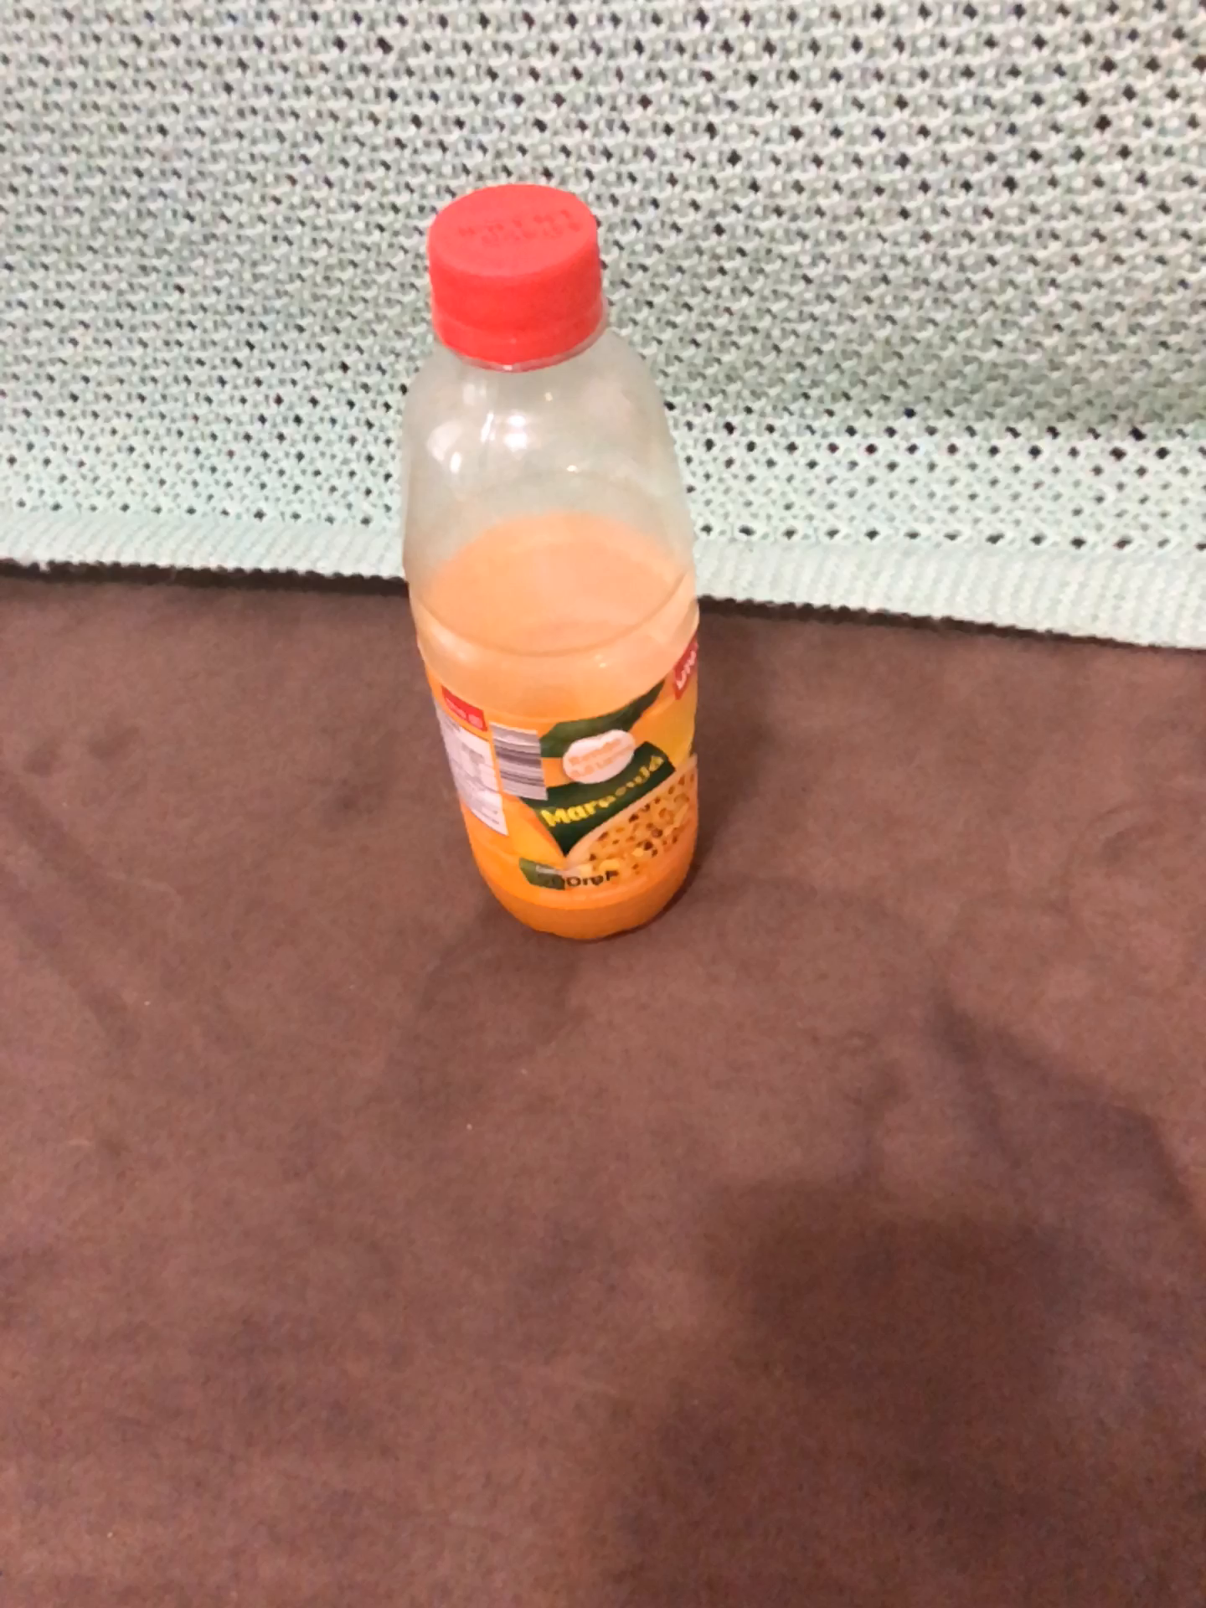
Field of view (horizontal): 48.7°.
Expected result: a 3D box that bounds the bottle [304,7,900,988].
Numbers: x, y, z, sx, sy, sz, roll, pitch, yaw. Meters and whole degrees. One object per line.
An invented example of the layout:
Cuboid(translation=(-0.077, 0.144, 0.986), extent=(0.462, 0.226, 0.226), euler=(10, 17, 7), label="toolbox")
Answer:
Cuboid(translation=(0.004, -0.052, 0.306), extent=(0.080, 0.199, 0.080), euler=(-3, 53, 4), label="bottle")
